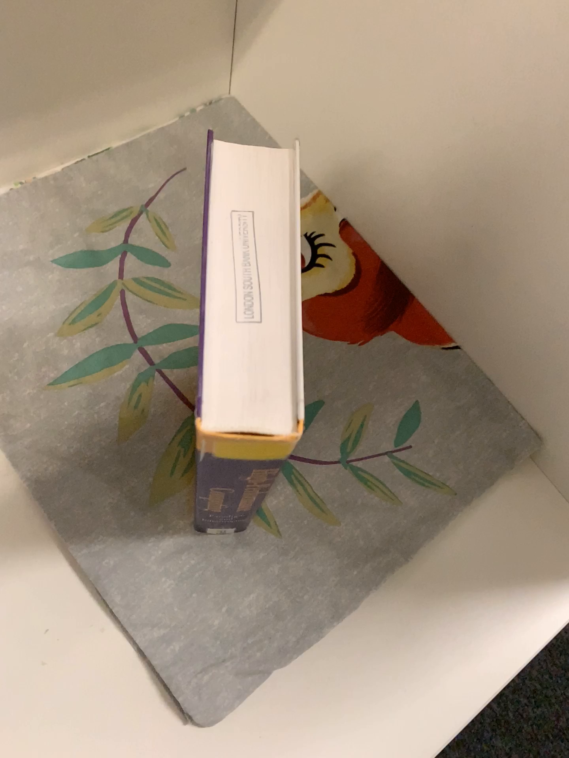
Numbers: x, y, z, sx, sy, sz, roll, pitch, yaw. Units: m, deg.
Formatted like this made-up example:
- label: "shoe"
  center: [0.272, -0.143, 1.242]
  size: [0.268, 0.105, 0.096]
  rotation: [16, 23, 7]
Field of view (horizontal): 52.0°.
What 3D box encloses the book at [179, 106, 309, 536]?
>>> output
- label: "book"
  center: [-0.030, -0.007, 0.365]
  size: [0.049, 0.243, 0.169]
  rotation: [3, 66, -7]
